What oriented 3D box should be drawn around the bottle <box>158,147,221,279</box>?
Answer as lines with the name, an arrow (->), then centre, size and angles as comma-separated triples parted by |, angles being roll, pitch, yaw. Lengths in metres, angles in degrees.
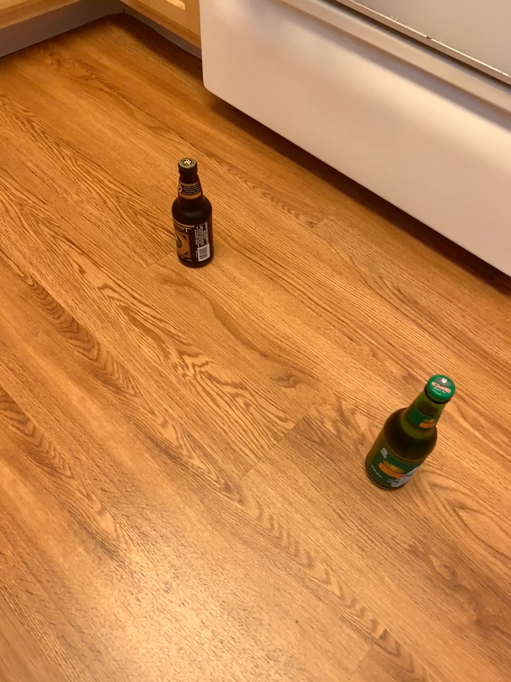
bottle -> -0.099, -0.194, 0.817 | 0.060, 0.189, 0.070 | -27, 62, -20

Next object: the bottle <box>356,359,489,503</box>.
bottle -> 0.182, 0.113, 0.605 | 0.060, 0.219, 0.060 | 2, 56, -2
